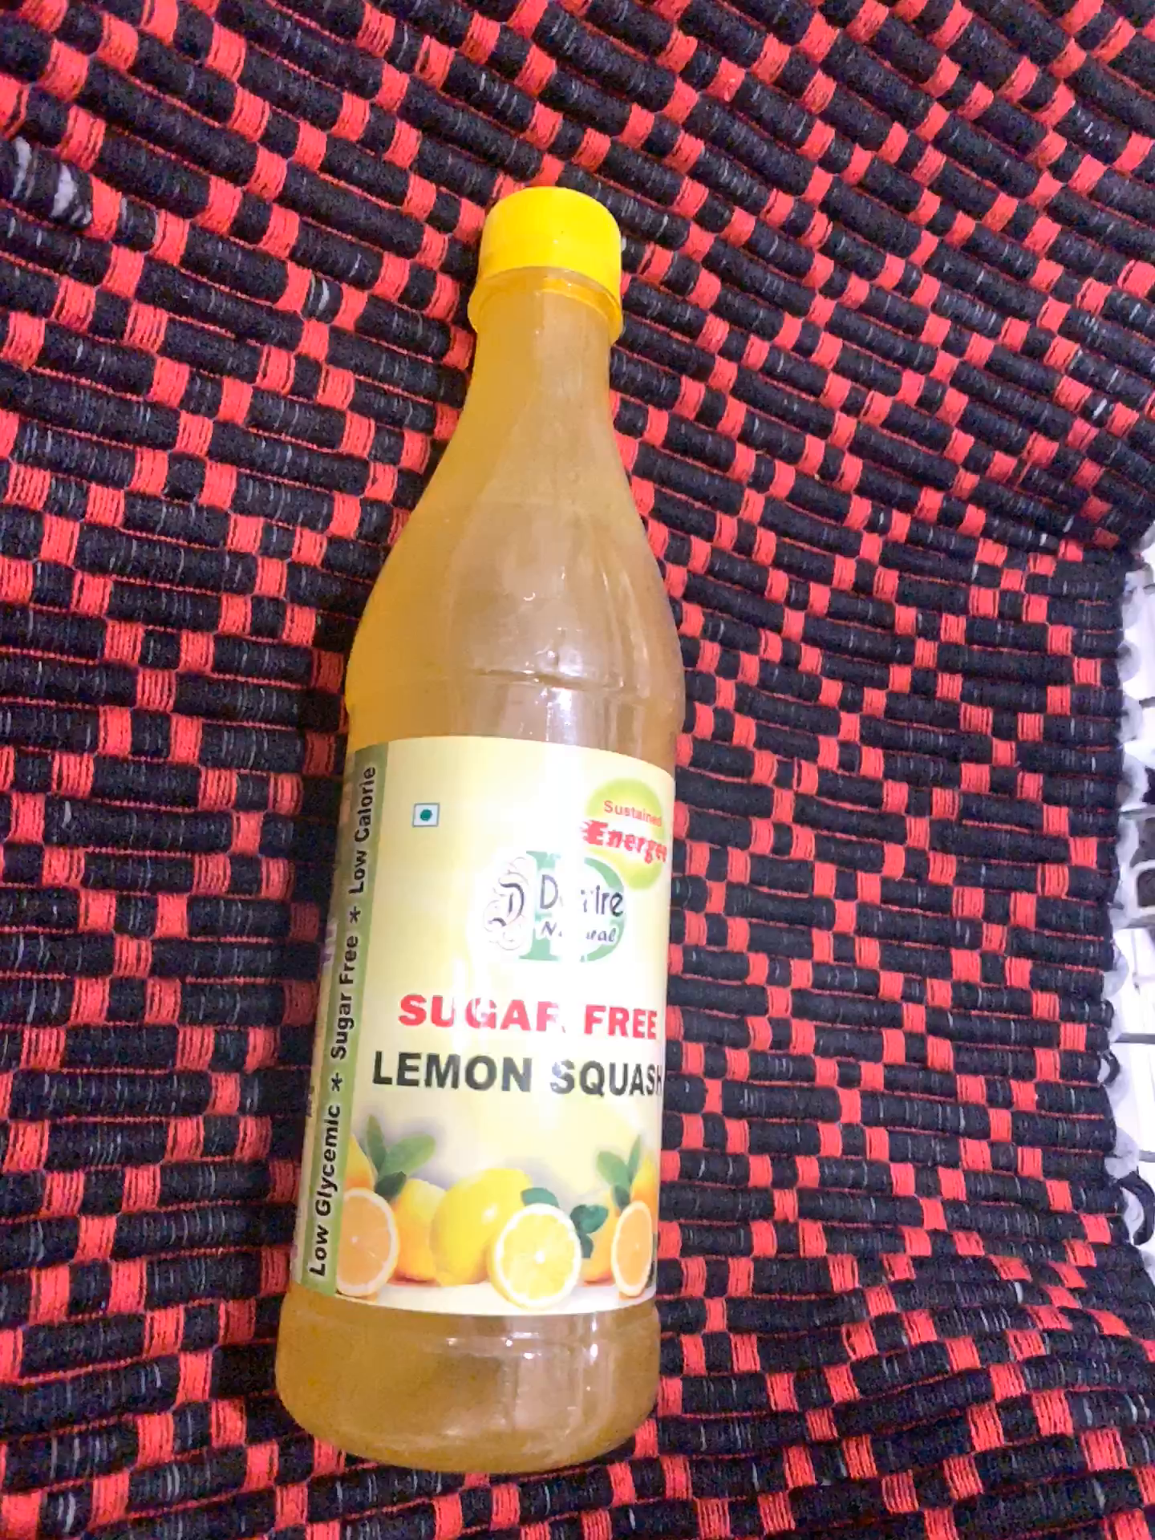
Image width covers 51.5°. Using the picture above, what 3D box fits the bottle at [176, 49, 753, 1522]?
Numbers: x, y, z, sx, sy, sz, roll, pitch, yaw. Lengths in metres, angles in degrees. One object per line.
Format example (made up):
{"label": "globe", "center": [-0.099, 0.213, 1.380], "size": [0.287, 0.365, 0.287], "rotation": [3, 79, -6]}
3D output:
{"label": "bottle", "center": [-0.017, -0.005, 0.222], "size": [0.070, 0.060, 0.230], "rotation": [12, 70, -33]}
